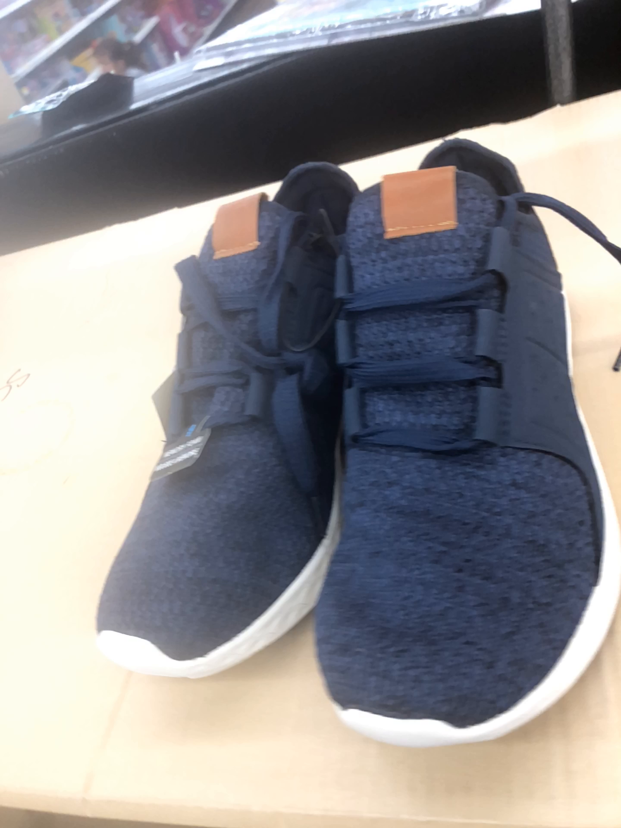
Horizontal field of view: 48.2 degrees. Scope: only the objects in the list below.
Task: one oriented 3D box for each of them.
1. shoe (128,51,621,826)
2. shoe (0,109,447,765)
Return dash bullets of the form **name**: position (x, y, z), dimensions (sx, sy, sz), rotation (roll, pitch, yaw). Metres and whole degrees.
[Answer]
- **shoe**: position (0.058, -0.022, 0.281), dimensions (0.110, 0.120, 0.290), rotation (-5, 42, 22)
- **shoe**: position (-0.029, -0.015, 0.341), dimensions (0.110, 0.129, 0.290), rotation (0, 44, 27)
